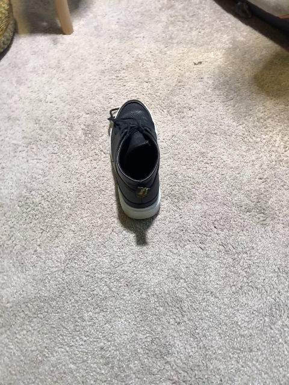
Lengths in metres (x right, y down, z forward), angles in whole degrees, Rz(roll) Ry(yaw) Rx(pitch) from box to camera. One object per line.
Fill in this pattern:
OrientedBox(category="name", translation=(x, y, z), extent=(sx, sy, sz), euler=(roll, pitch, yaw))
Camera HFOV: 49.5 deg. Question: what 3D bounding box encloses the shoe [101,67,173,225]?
OrientedBox(category="shoe", translation=(-0.016, -0.088, 0.576), extent=(0.107, 0.111, 0.263), euler=(-5, 64, 1))
